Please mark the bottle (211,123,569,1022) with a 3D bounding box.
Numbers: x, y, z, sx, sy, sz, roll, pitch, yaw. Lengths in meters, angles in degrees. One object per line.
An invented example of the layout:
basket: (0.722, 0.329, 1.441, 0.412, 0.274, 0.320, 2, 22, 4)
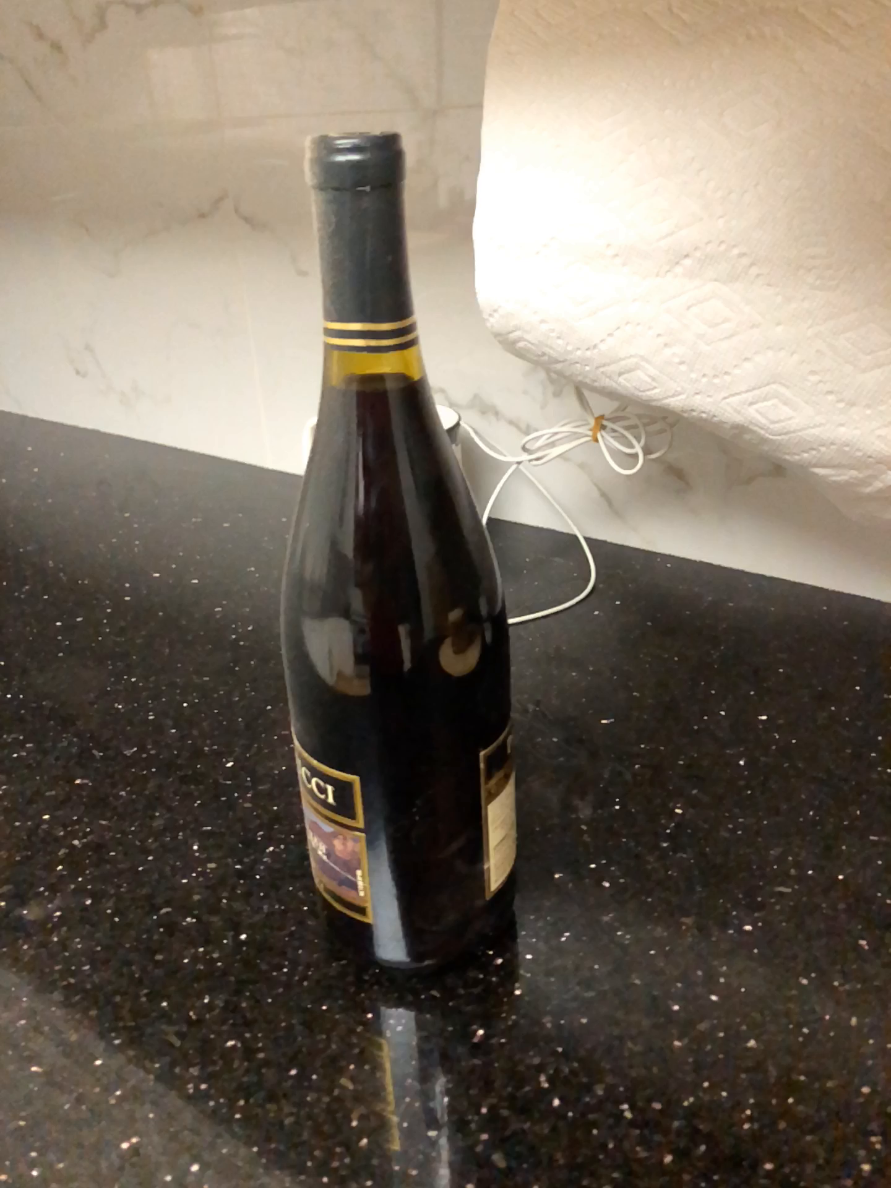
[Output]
bottle: (-0.014, 0.001, 0.349, 0.090, 0.298, 0.090, -3, 26, 1)
